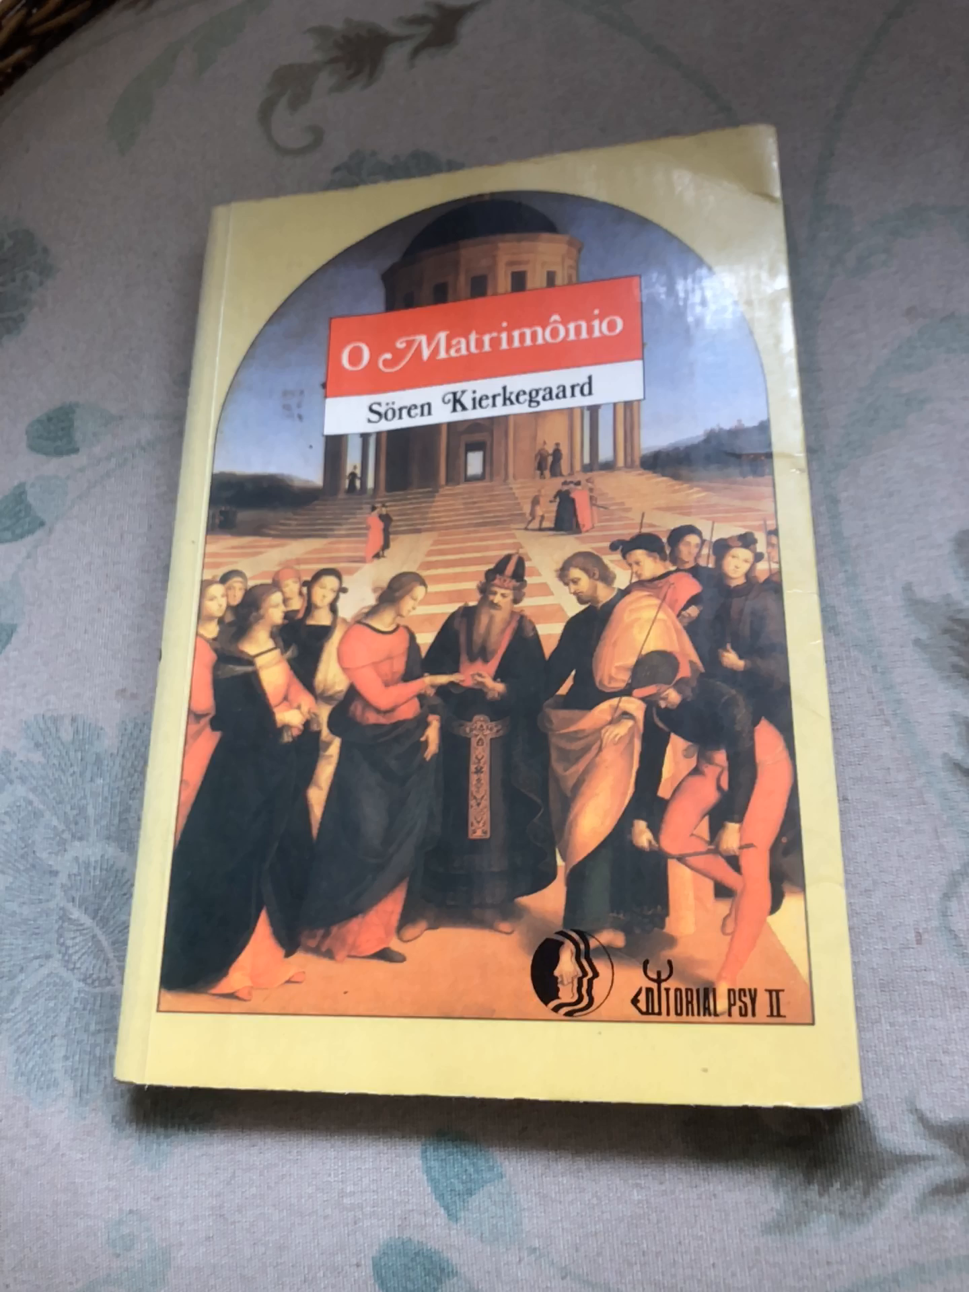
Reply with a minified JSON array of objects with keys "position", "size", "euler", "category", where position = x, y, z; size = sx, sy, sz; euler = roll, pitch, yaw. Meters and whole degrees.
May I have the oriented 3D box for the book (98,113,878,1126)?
[{"position":[0.000,-0.013,0.229],"size":[0.140,0.020,0.200],"euler":[-2,73,12],"category":"book"}]
